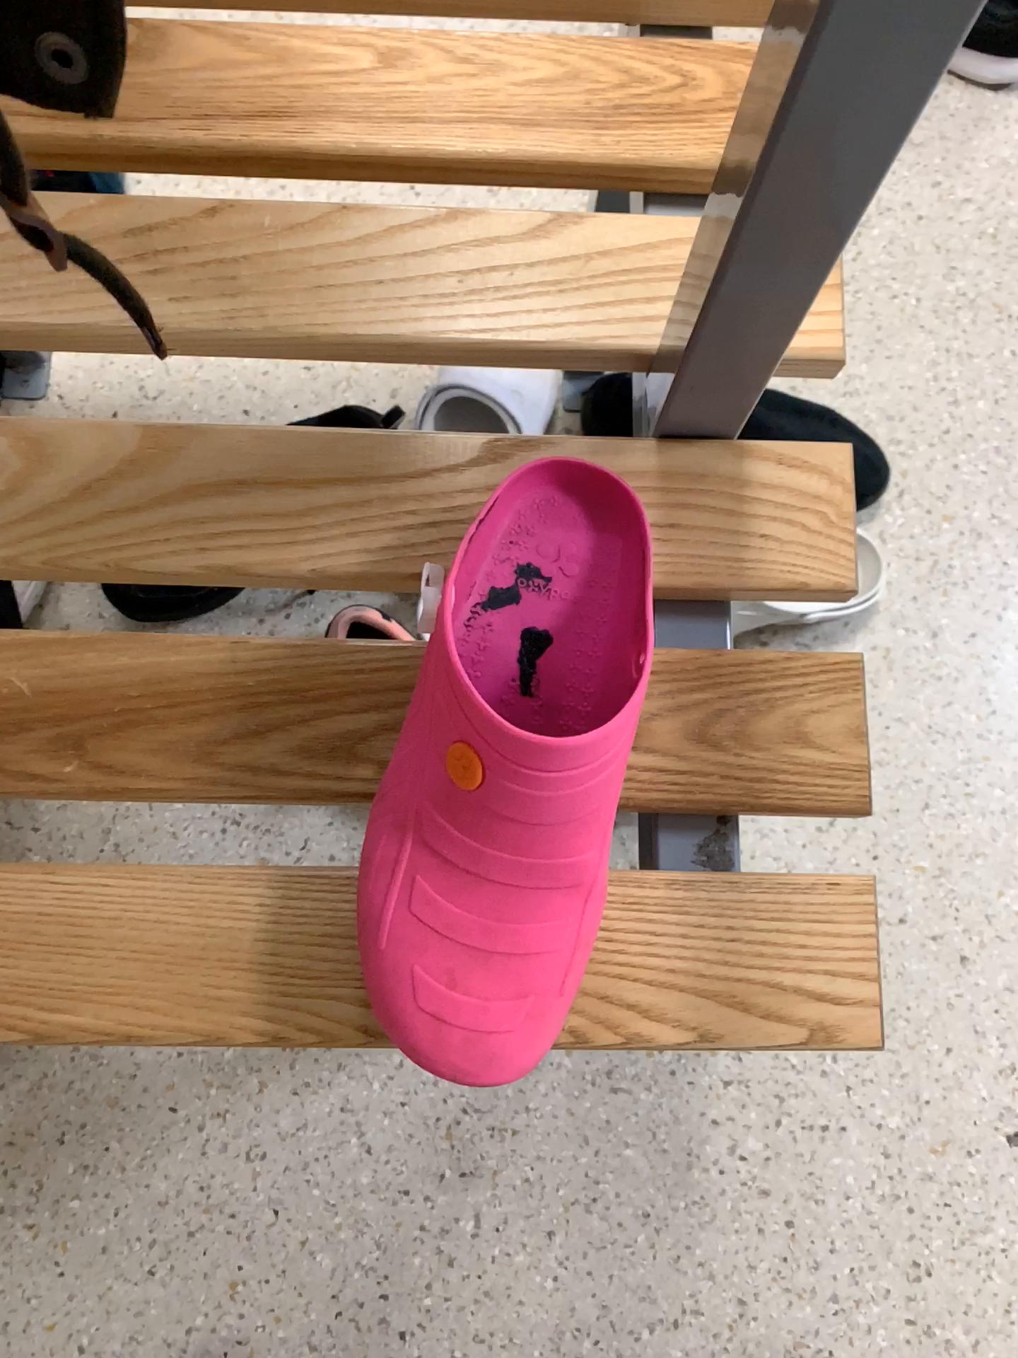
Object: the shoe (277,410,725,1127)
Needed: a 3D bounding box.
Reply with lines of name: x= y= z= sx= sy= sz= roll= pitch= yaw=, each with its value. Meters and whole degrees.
shoe: x=0.001 y=0.028 z=0.377 sx=0.096 sy=0.068 sz=0.220 roll=14 pitch=78 yaw=2
